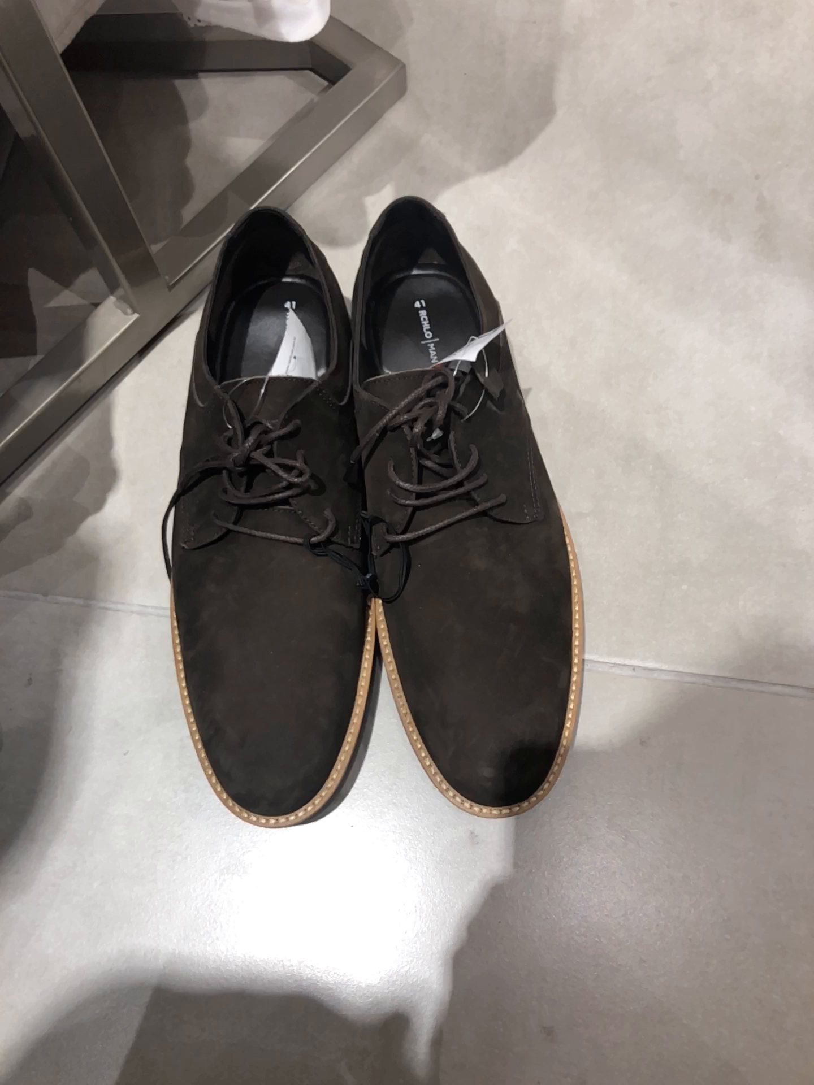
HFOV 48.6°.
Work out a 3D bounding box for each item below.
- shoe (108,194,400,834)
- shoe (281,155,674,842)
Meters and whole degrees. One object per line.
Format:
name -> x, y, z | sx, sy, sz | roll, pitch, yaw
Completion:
shoe -> -0.069, -0.011, 0.464 | 0.110, 0.120, 0.301 | -4, 71, 2
shoe -> 0.023, -0.019, 0.443 | 0.110, 0.120, 0.301 | -11, 71, 0
